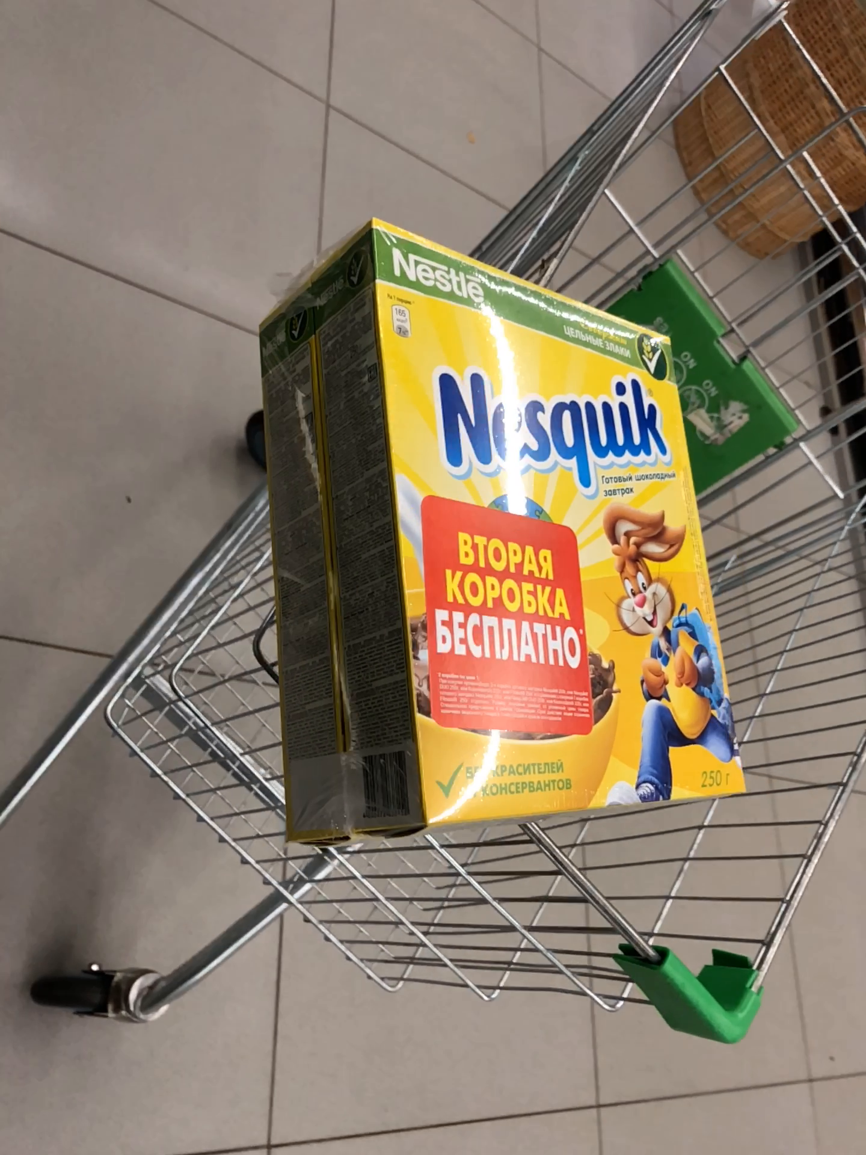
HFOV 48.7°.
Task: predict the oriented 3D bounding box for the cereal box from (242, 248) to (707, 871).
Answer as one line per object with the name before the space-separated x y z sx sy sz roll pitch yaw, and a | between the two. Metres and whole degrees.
cereal box | 0.024 -0.002 0.442 0.211 0.050 0.240 7 70 -41

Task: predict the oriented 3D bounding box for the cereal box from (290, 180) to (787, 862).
cereal box | 0.050 -0.016 0.408 0.211 0.050 0.240 7 70 -41
